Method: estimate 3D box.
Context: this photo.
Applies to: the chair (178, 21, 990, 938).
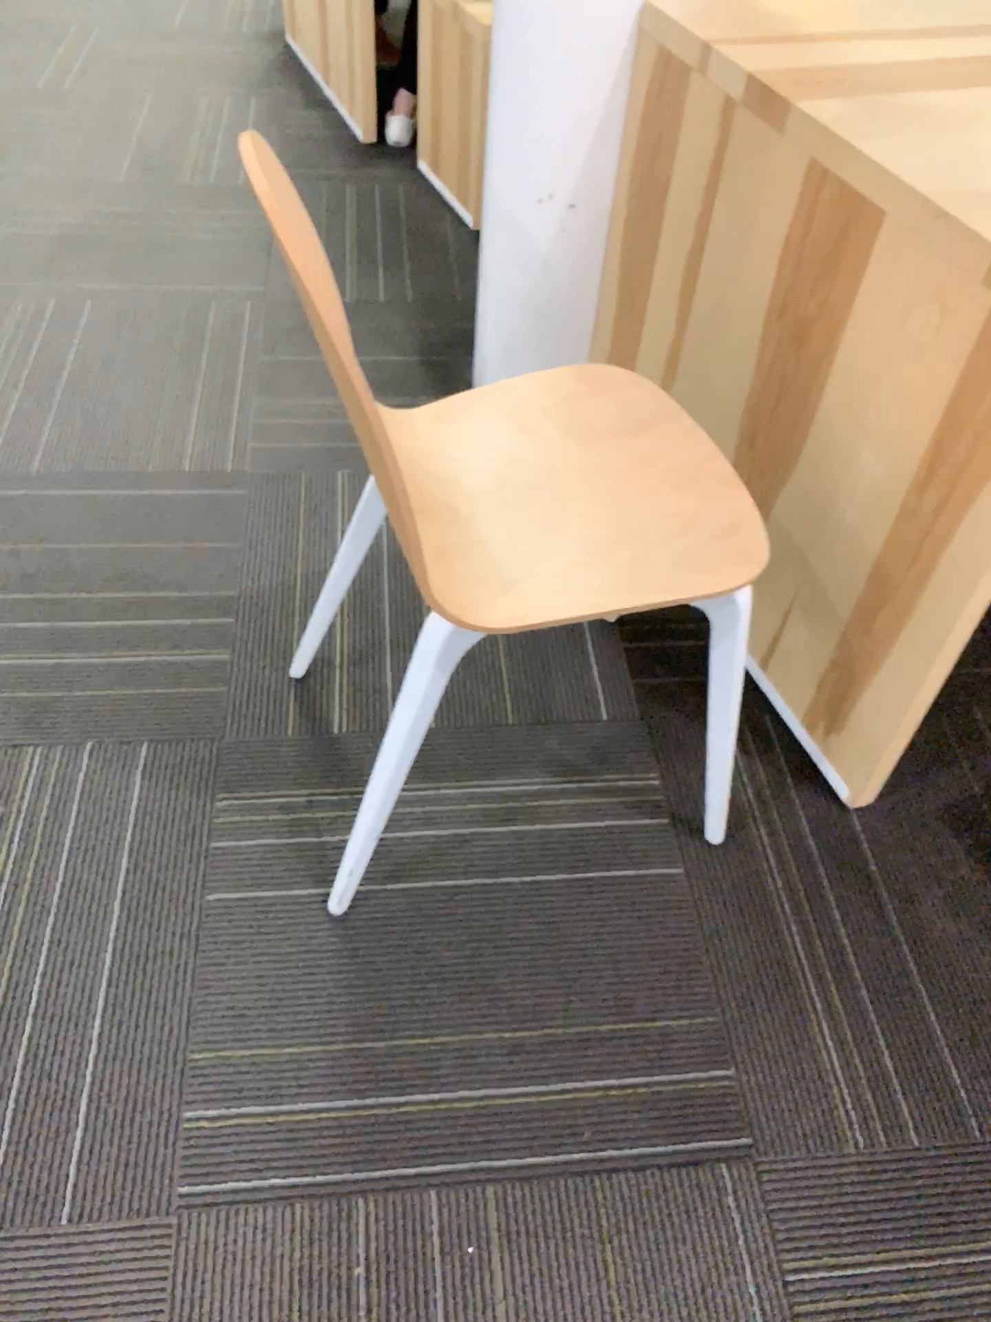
[{"bbox_3d":[0.014,-0.170,1.148,0.550,0.816,0.503,-10,49,-14],"label":"chair"}]
